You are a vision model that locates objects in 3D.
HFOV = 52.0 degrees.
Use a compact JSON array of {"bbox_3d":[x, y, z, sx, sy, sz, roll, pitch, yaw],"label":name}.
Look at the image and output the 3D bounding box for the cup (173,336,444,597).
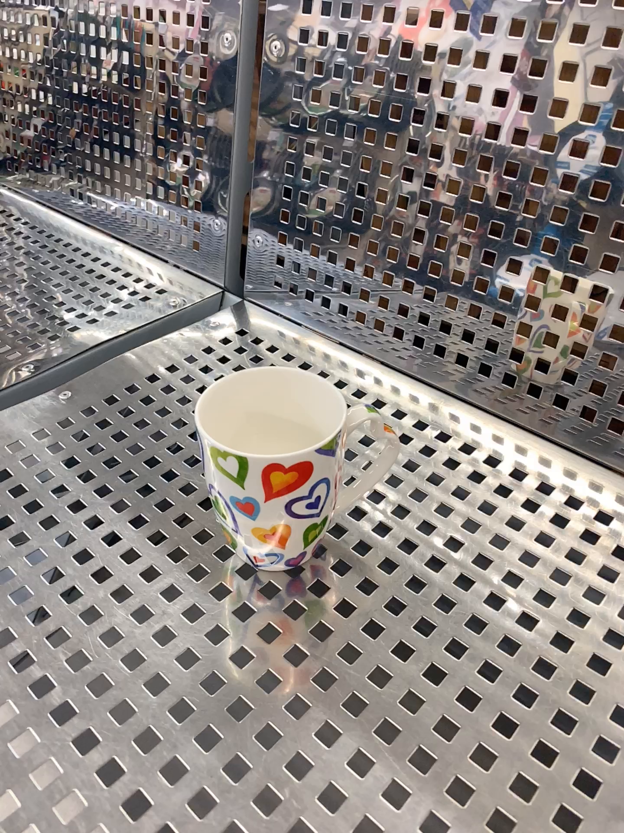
[{"bbox_3d":[-0.005,0.026,0.352,0.120,0.100,0.070,-11,41,-14],"label":"cup"}]
